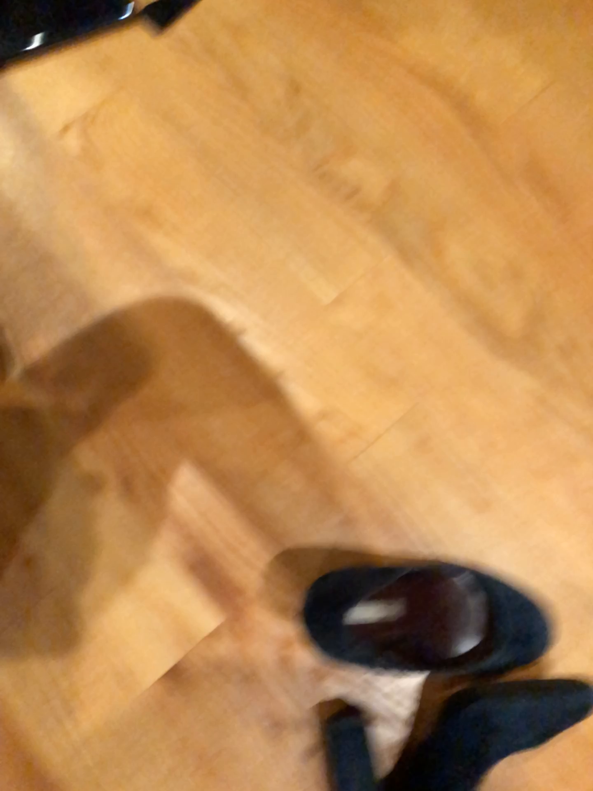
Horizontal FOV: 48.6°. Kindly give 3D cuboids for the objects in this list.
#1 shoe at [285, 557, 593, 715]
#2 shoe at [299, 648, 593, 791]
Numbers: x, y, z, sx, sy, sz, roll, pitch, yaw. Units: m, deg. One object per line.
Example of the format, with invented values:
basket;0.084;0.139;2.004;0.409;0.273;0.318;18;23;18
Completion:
shoe;0.108;0.152;0.438;0.226;0.147;0.080;1;76;-2
shoe;0.119;0.276;0.437;0.204;0.080;0.152;-11;76;-5
